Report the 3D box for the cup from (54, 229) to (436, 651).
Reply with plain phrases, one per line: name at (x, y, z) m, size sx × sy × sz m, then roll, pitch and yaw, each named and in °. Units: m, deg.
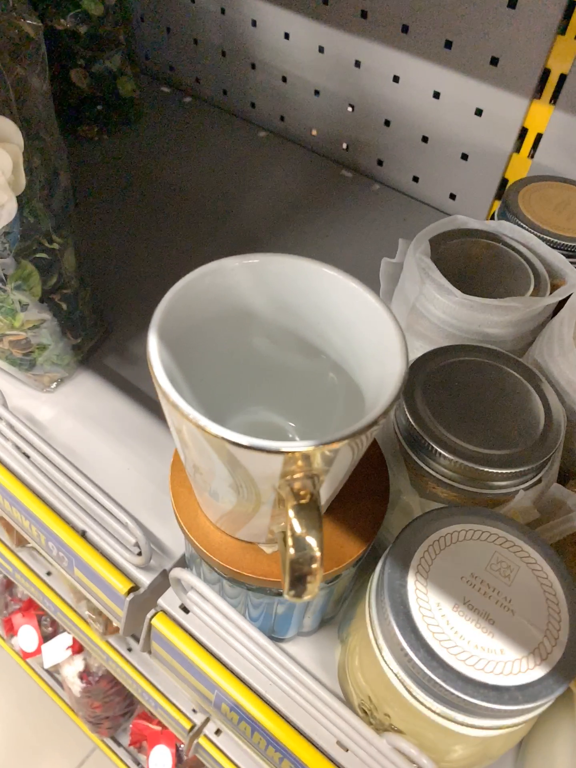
cup at (-0.012, 0.014, 0.165) m, size 0.070 × 0.070 × 0.090 m, roll -1°, pitch 51°, yaw -5°
